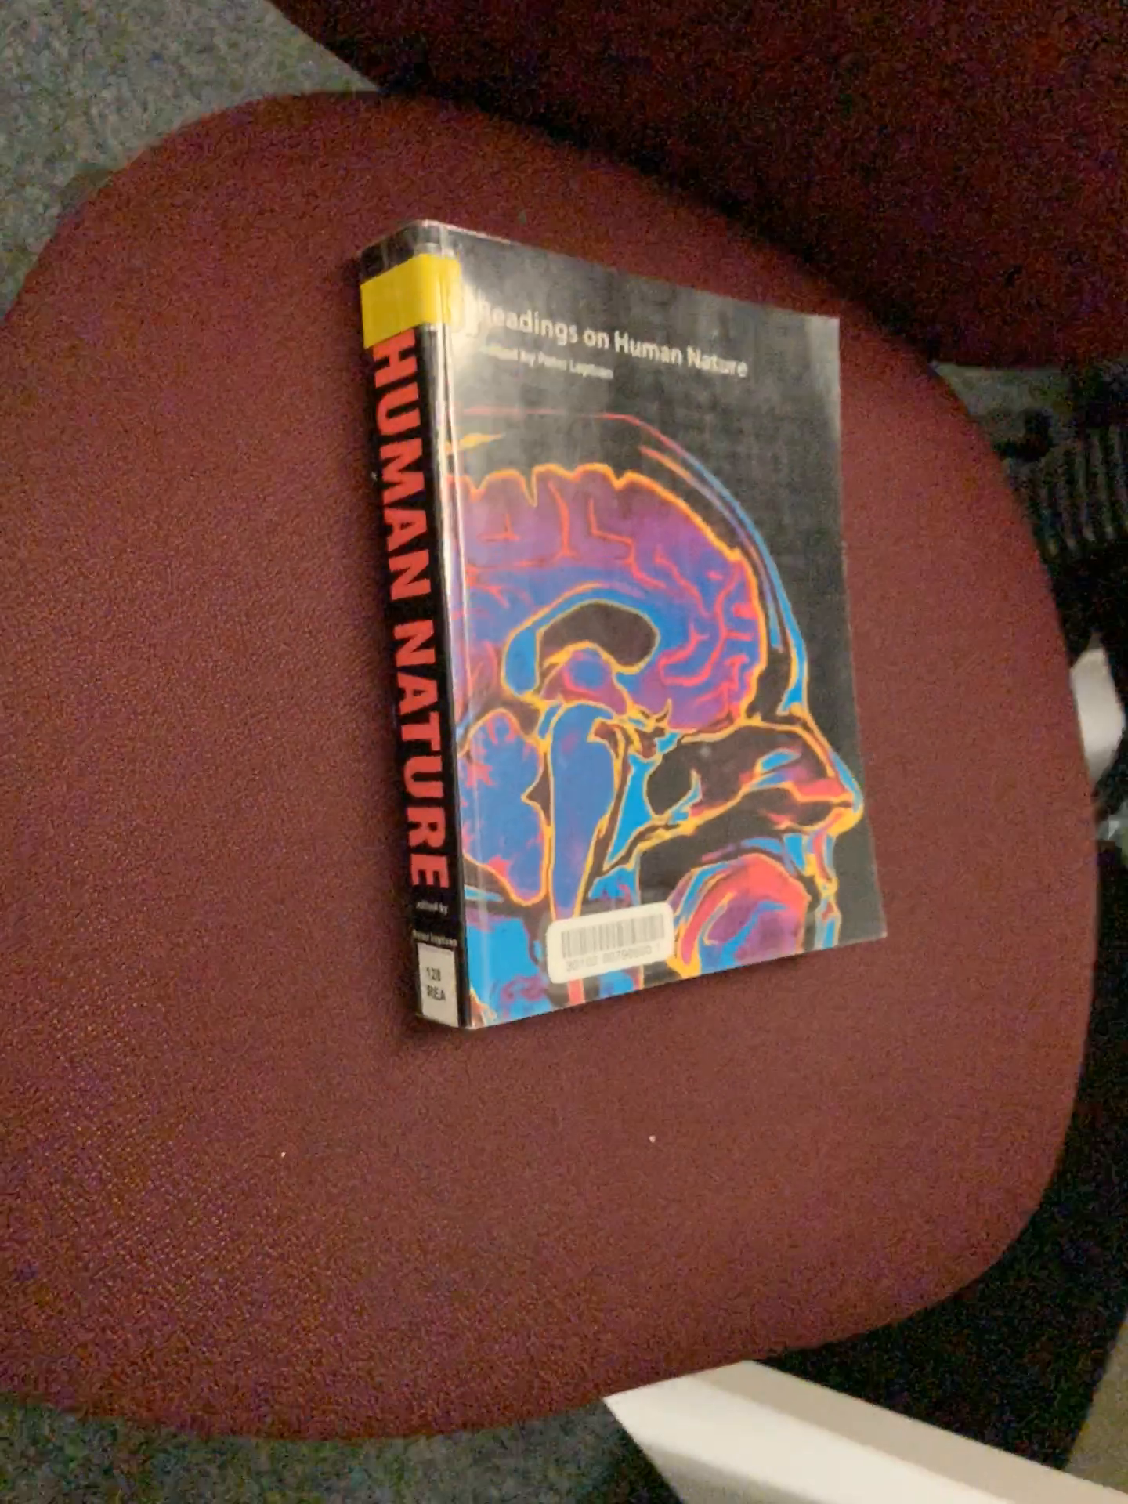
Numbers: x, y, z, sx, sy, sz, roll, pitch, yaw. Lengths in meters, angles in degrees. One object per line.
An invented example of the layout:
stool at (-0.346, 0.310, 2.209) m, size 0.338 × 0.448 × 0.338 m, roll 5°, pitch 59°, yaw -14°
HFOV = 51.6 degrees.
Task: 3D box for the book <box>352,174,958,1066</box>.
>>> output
book at (0.040, -0.040, 0.387) m, size 0.201 × 0.040 × 0.240 m, roll -3°, pitch 86°, yaw -37°
